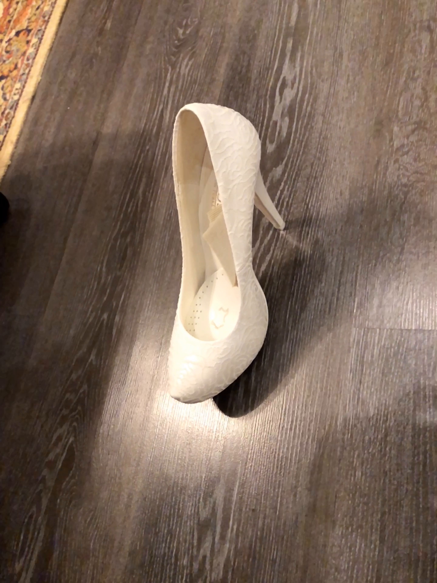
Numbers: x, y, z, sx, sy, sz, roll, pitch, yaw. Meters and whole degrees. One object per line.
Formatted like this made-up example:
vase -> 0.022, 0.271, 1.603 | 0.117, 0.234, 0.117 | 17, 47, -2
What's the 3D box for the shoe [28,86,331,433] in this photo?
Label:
shoe -> -0.015, -0.019, 0.374 | 0.090, 0.149, 0.210 | 16, 78, 37
